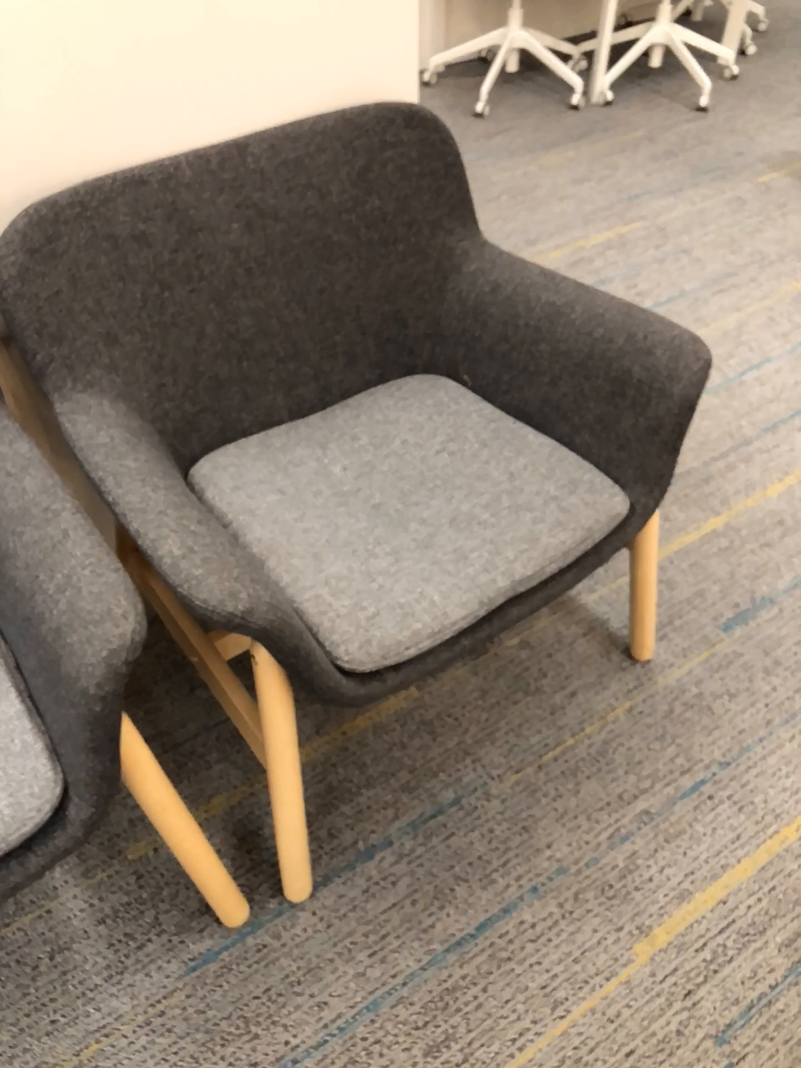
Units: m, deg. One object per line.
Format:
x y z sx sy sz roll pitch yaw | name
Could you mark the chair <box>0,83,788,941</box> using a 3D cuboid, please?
-0.079 -0.065 1.348 0.741 0.834 0.734 -24 49 -22 | chair
